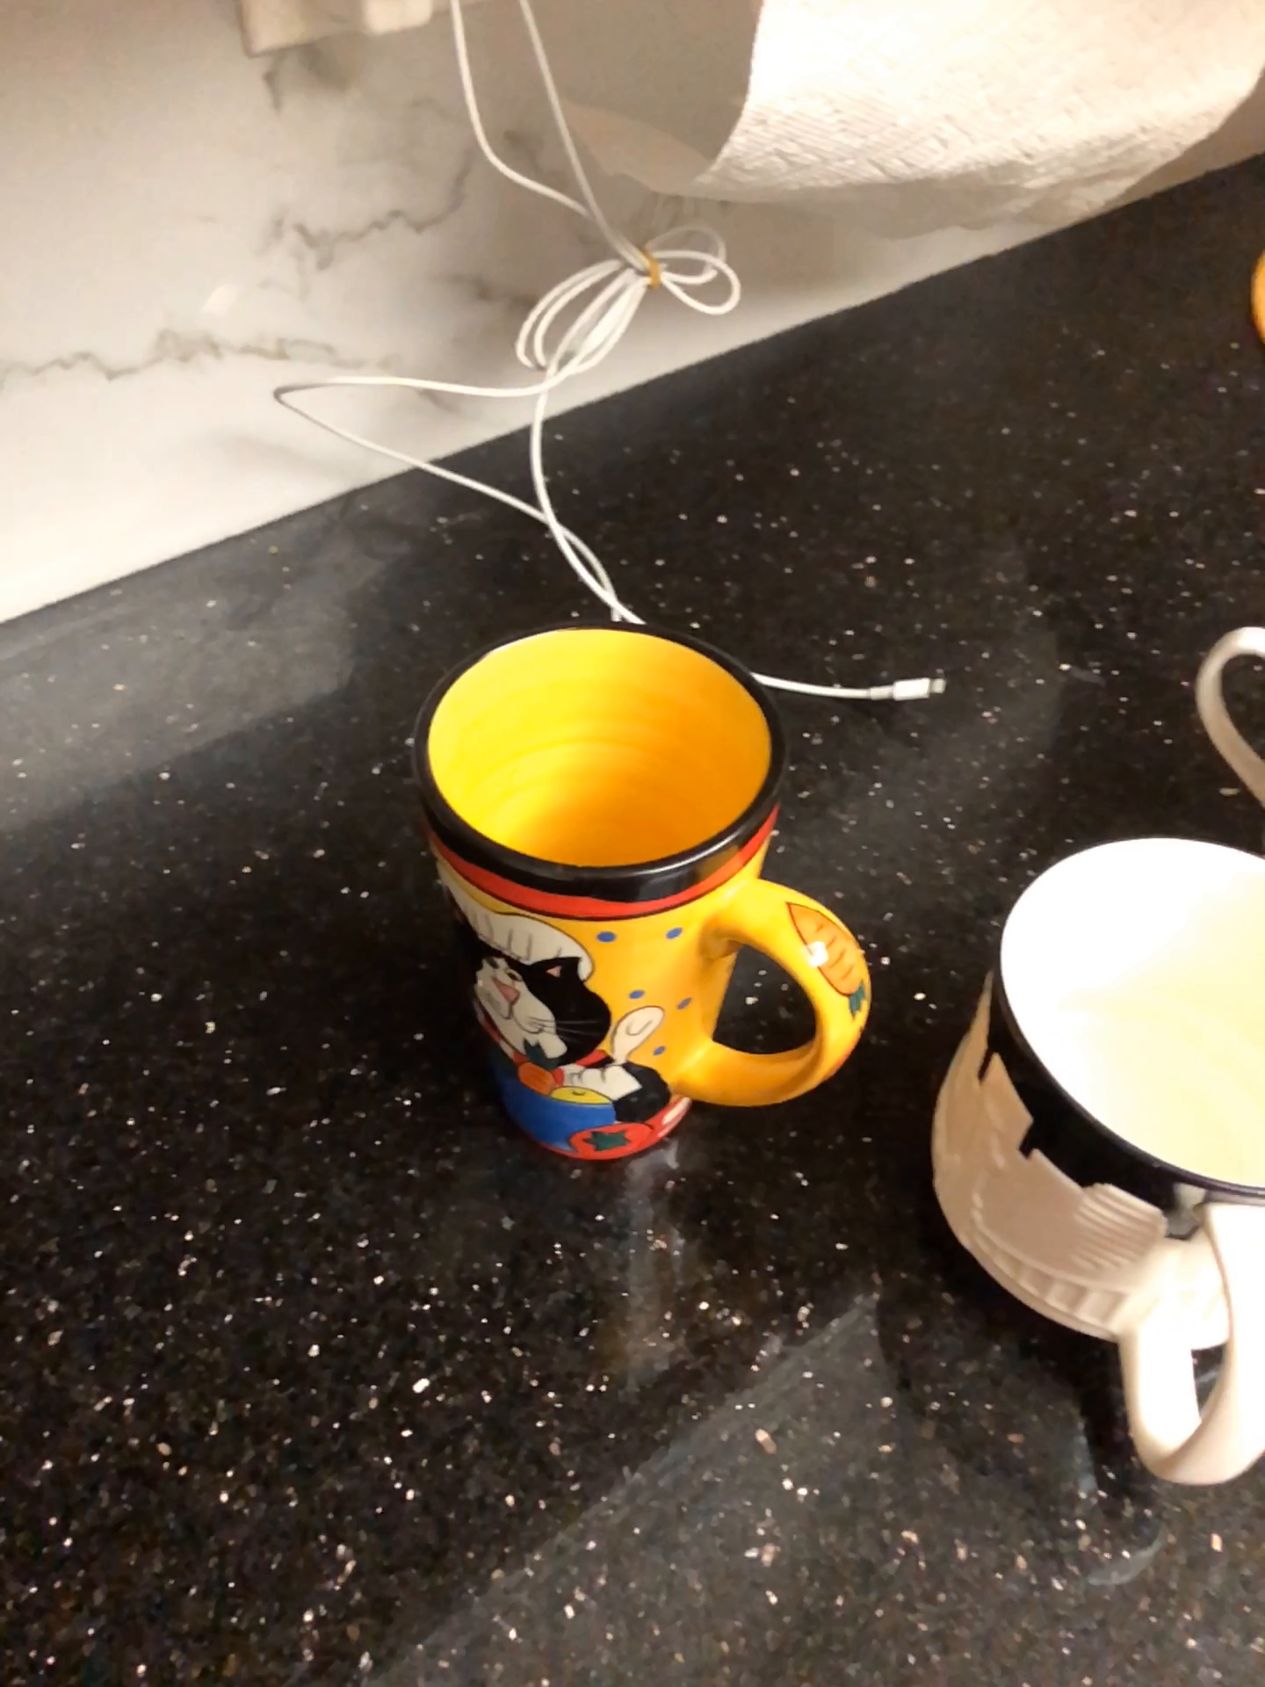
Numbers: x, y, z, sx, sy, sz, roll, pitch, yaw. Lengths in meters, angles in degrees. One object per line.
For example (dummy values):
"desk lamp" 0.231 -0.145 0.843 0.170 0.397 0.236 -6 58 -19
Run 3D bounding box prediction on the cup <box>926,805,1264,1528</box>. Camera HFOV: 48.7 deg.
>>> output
"cup" 0.143 0.081 0.368 0.110 0.099 0.141 8 48 5

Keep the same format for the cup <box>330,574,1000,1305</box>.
"cup" 0.007 0.026 0.377 0.130 0.129 0.090 27 52 21

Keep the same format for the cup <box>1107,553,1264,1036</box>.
"cup" 0.248 -0.020 0.467 0.140 0.080 0.100 18 49 14
